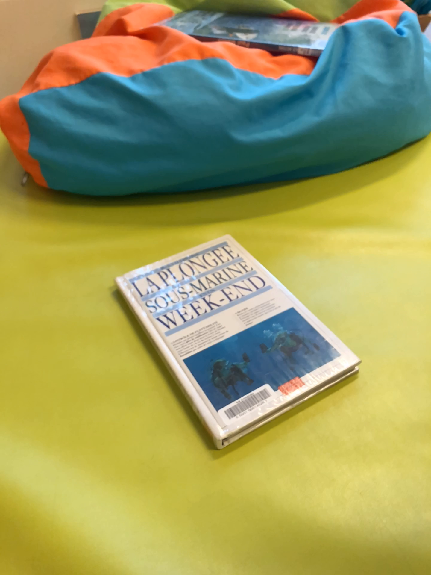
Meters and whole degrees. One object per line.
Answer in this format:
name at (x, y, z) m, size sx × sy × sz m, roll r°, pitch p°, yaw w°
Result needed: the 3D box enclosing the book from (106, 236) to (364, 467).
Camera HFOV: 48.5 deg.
book at (0.006, 0.040, 0.473) m, size 0.150 × 0.020 × 0.235 m, roll -23°, pitch 46°, yaw -20°
